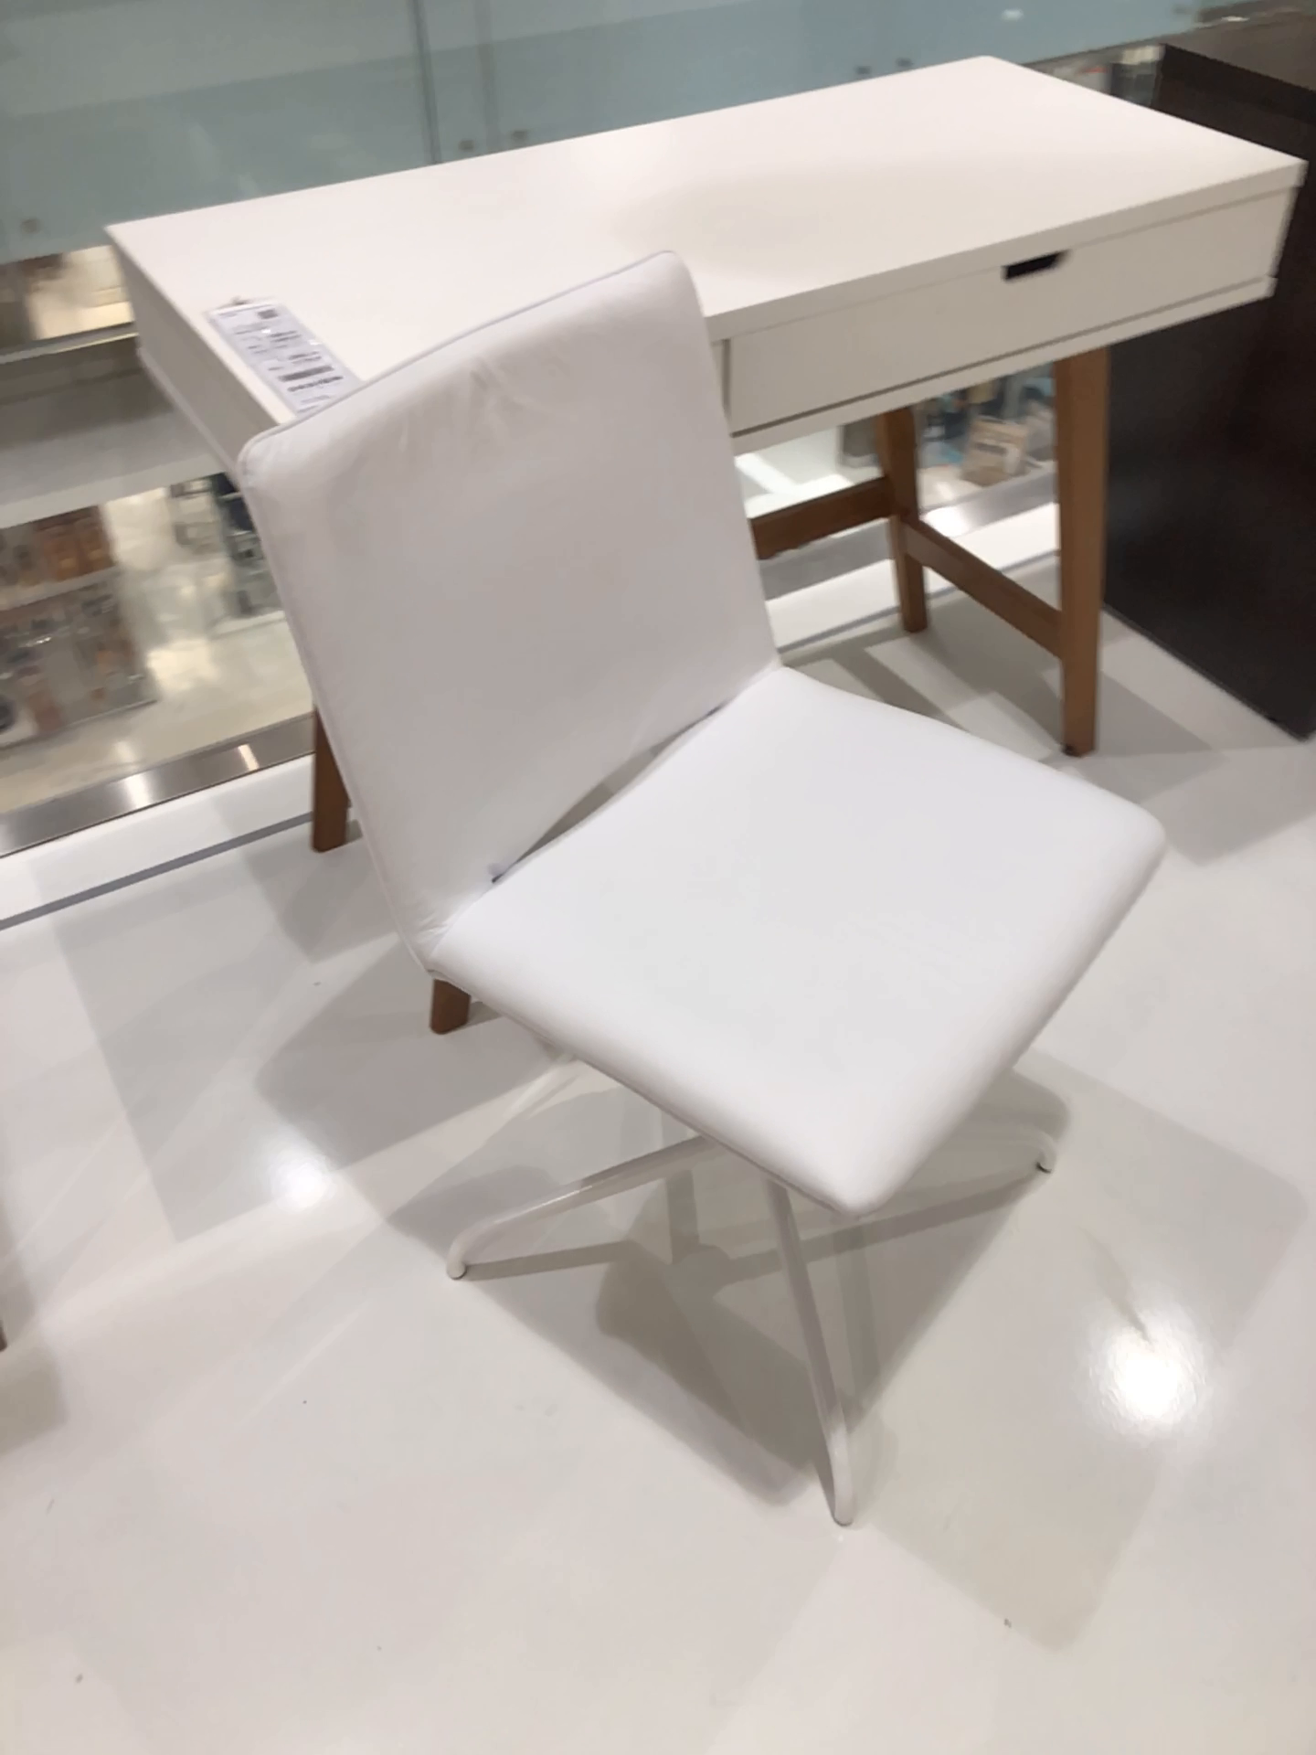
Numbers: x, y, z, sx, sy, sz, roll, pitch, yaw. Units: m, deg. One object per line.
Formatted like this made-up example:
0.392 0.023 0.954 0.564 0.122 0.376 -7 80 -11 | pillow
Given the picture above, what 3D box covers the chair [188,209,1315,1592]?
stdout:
0.090 0.027 1.152 0.501 0.843 0.513 27 49 28 | chair
